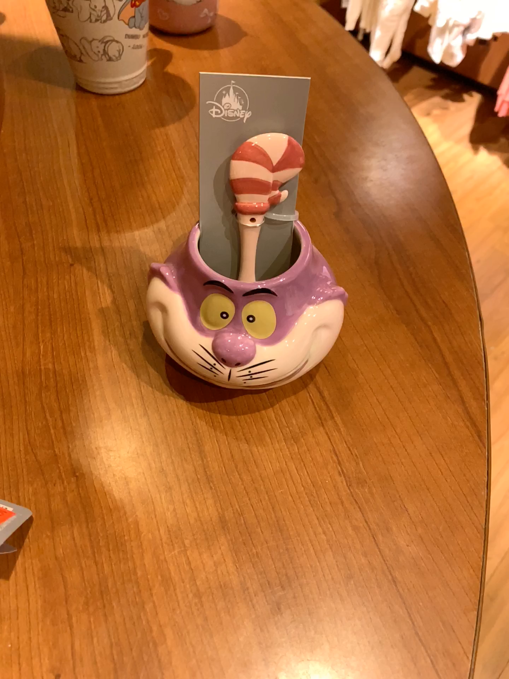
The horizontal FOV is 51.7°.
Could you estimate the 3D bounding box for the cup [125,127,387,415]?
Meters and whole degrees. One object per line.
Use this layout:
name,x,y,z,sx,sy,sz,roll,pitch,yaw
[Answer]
cup,-0.009,-0.046,0.308,0.114,0.077,0.143,-8,53,-8
